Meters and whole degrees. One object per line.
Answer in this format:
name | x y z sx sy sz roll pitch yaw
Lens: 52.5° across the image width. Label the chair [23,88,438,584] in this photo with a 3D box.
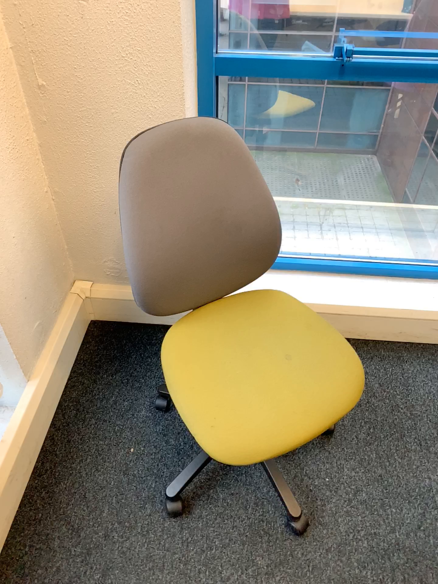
chair | 0.084 0.118 1.093 0.694 0.876 0.682 -23 47 -23
